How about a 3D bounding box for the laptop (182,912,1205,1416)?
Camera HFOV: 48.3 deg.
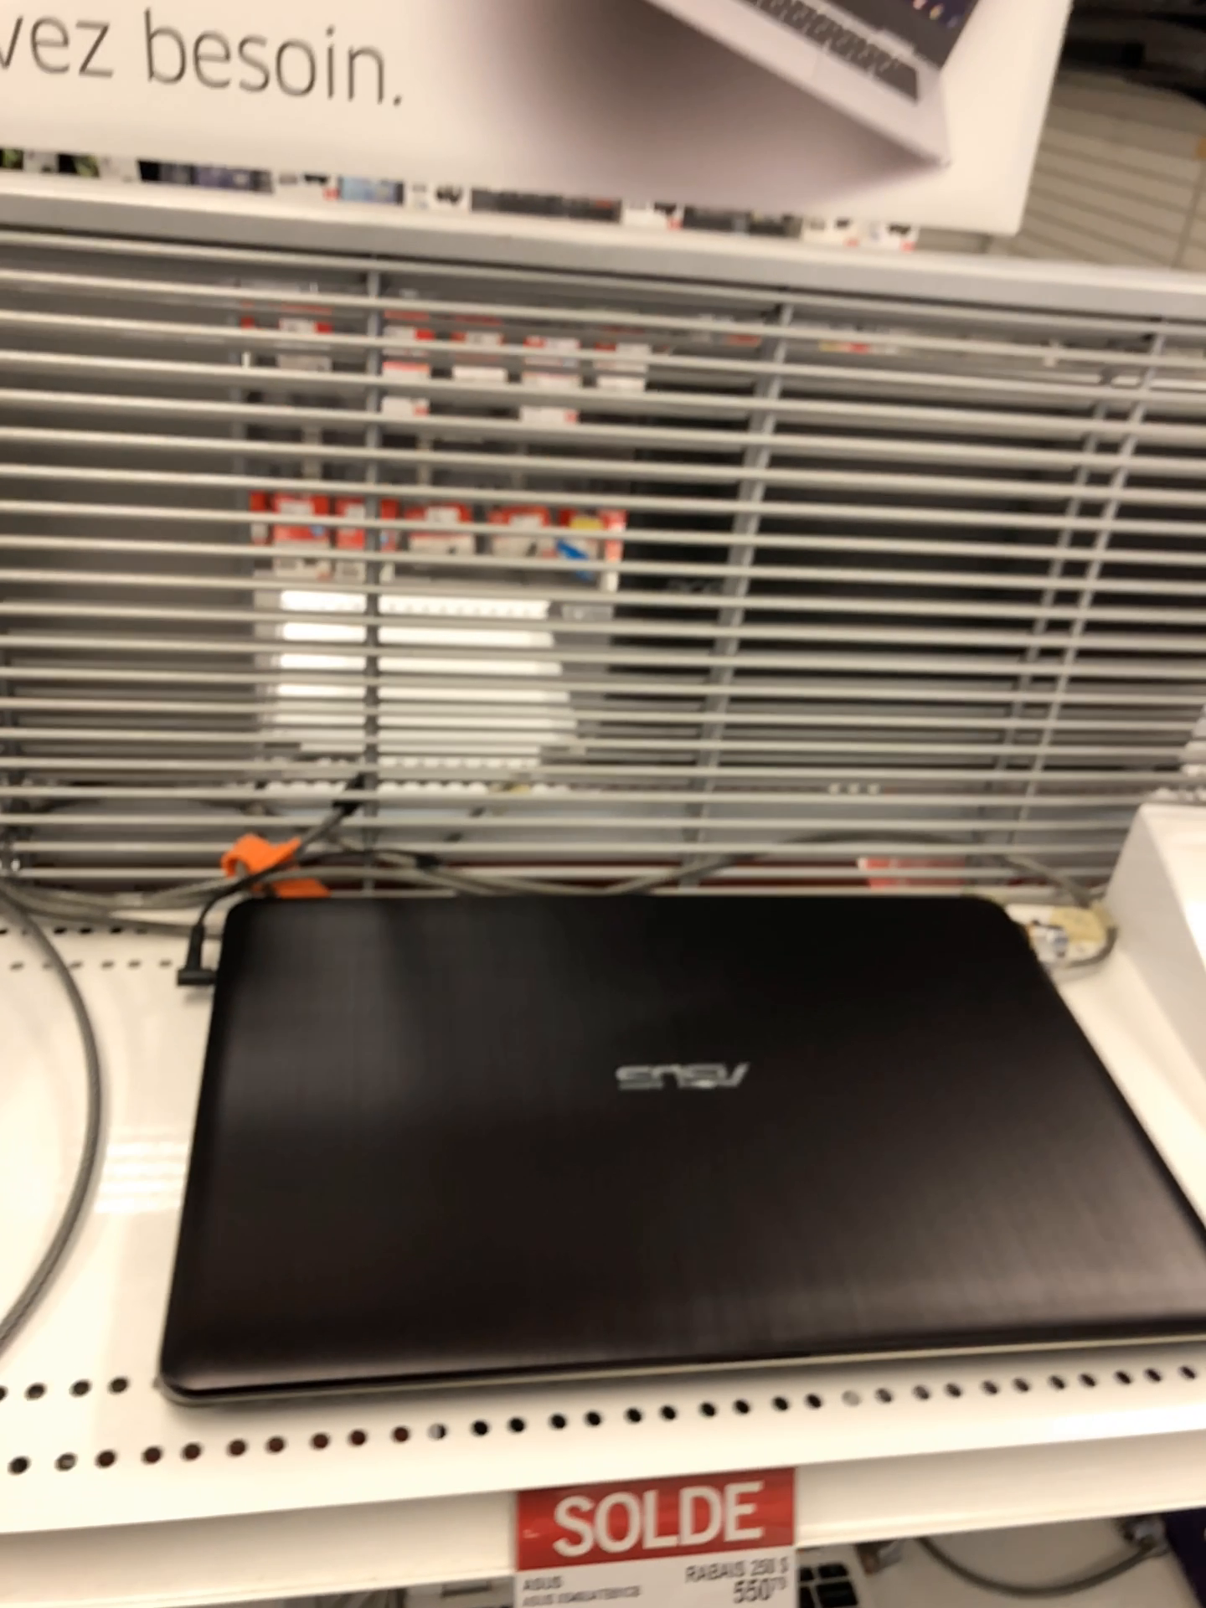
[{"bbox_3d":[0.034,0.123,0.554,0.367,0.013,0.235,2,34,-12],"label":"laptop"}]
